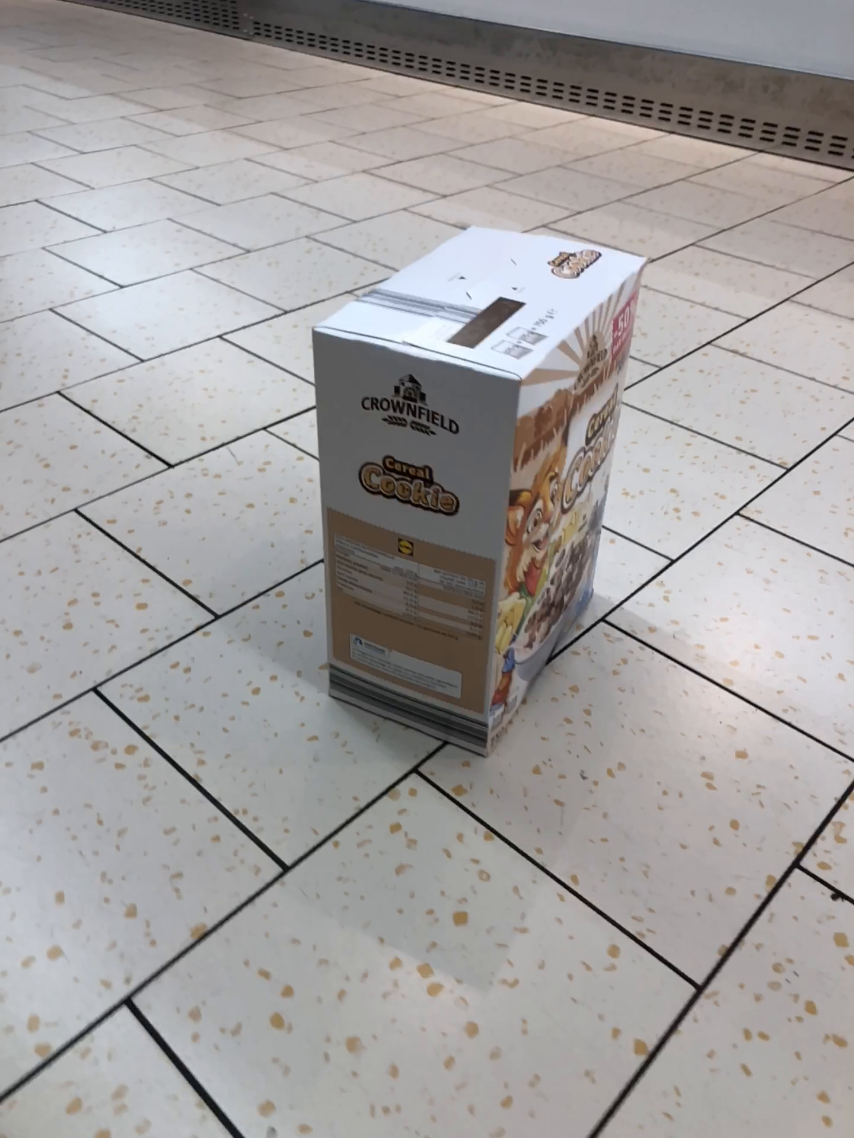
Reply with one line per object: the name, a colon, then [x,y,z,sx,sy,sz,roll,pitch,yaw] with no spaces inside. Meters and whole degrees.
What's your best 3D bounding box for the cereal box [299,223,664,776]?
cereal box: [0.035,-0.049,0.571,0.120,0.248,0.201,18,39,21]
